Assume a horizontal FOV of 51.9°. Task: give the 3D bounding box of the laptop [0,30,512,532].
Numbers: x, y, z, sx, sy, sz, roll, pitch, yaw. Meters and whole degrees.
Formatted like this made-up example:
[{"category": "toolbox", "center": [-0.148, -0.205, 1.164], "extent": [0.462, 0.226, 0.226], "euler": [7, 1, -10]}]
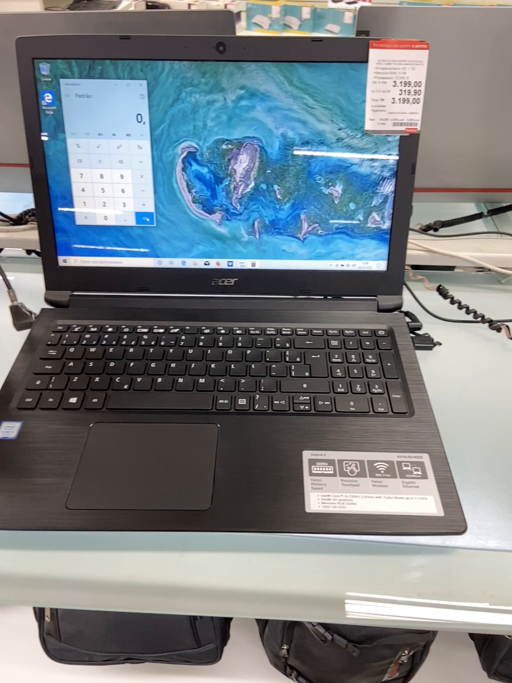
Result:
[{"category": "laptop", "center": [-0.037, -0.074, 0.422], "extent": [0.375, 0.227, 0.354], "euler": [1, 43, 2]}]
